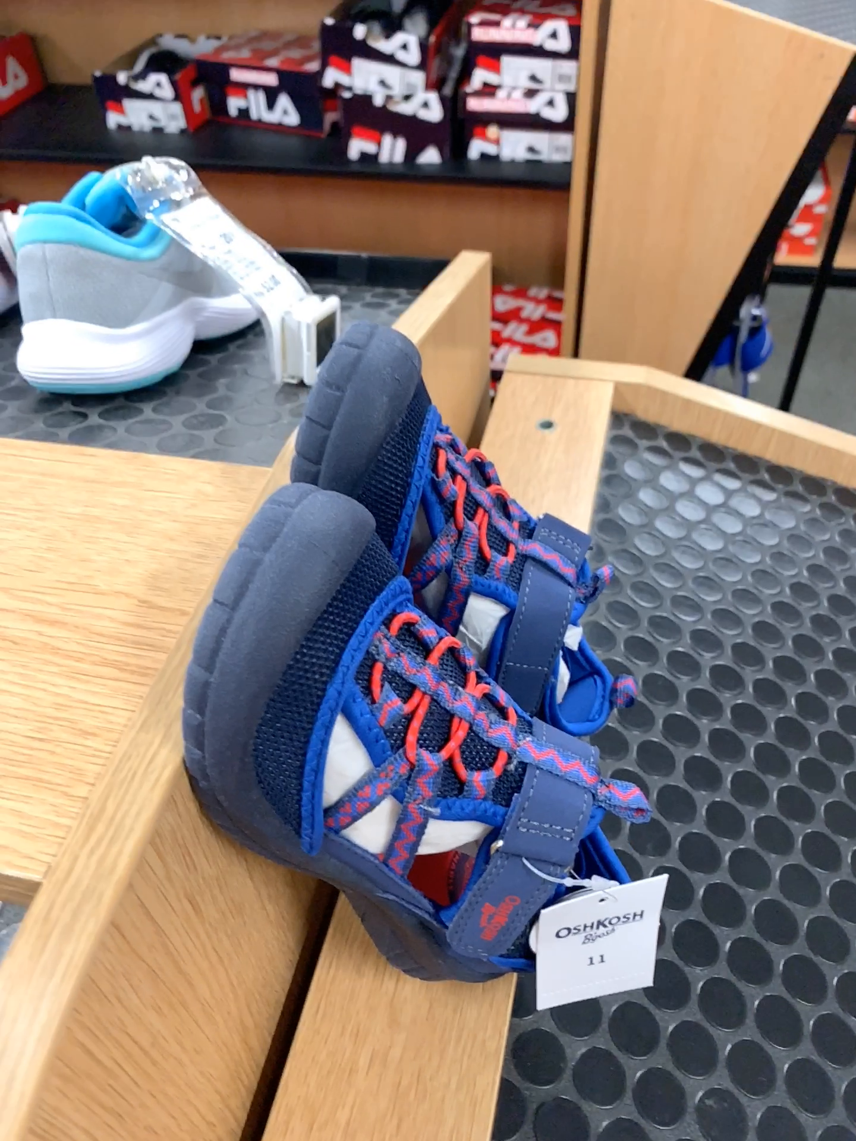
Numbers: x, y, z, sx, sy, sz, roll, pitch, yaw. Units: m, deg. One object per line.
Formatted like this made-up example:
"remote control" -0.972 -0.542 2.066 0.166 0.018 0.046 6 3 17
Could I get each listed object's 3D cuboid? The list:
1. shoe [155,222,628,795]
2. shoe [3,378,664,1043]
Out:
"shoe" 0.005 -0.007 0.318 0.080 0.189 0.080 -9 42 26
"shoe" -0.006 0.054 0.264 0.100 0.189 0.080 -7 42 27
